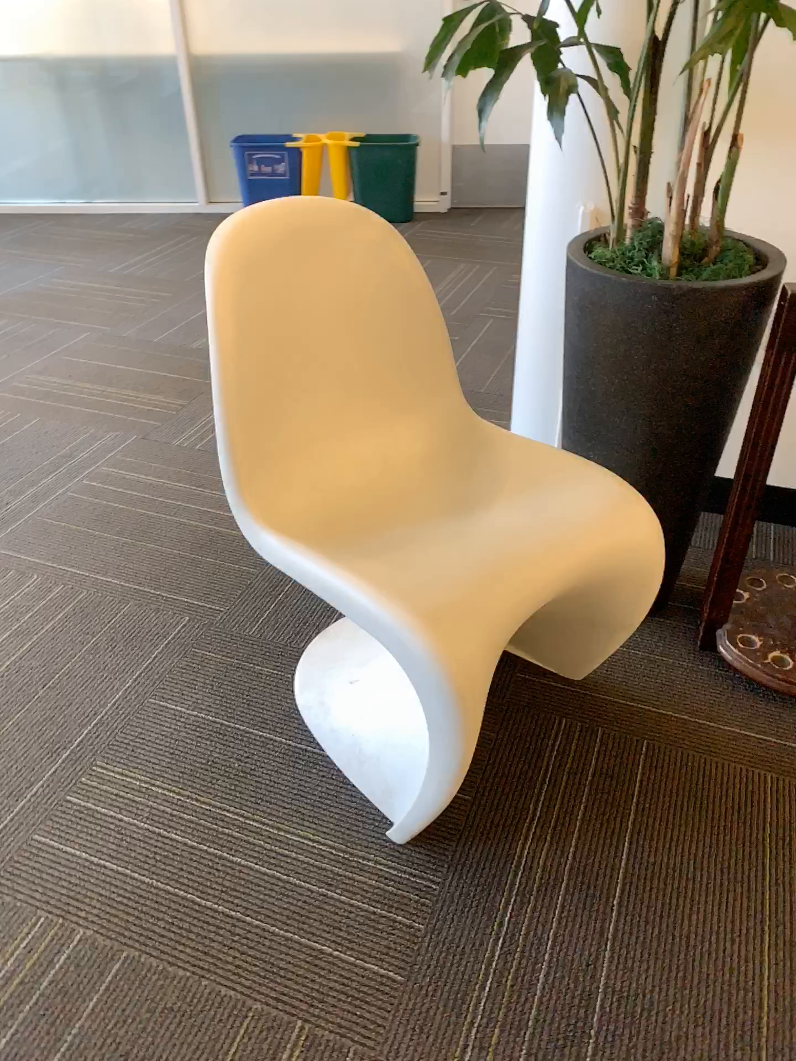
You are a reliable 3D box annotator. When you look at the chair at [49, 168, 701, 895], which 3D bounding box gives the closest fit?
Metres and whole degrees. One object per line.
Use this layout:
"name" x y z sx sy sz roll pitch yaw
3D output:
"chair" 0.004 -0.052 1.241 0.582 0.775 0.602 20 40 27
